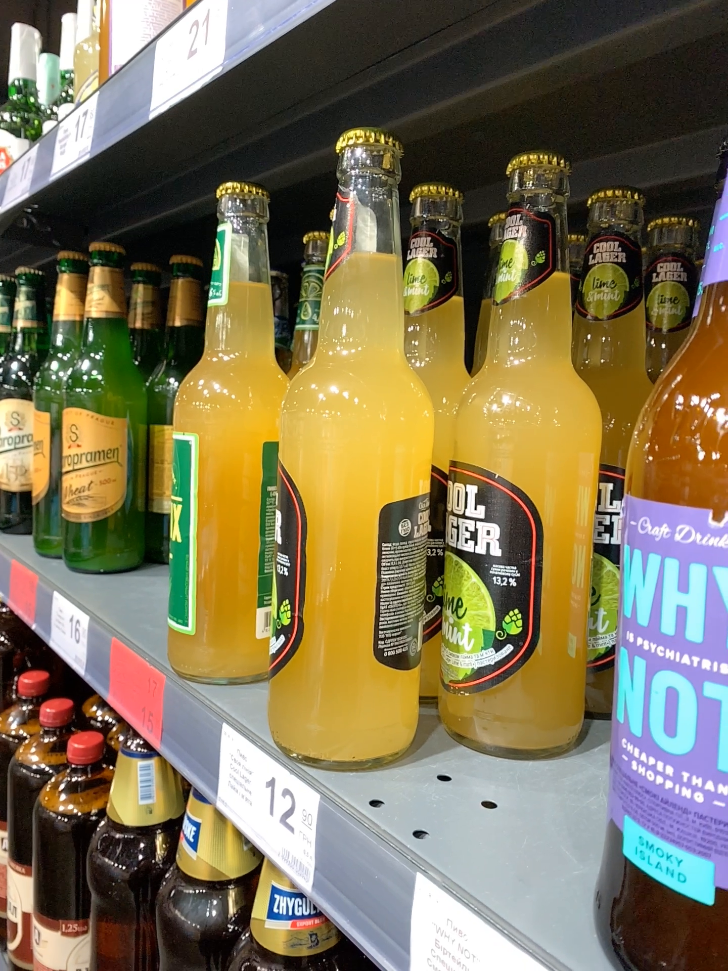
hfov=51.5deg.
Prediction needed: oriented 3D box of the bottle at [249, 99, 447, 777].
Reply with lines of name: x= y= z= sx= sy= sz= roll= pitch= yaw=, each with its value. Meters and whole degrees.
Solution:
bottle: x=-0.006 y=-0.016 z=0.306 sx=0.065 sy=0.244 sz=0.063 roll=2 pitch=5 yaw=0

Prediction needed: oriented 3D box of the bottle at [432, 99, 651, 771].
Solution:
bottle: x=0.070 y=-0.019 z=0.326 sx=0.069 sy=0.259 sz=0.063 roll=2 pitch=5 yaw=0

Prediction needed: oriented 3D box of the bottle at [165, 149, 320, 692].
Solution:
bottle: x=-0.062 y=-0.032 z=0.403 sx=0.064 sy=0.259 sz=0.078 roll=2 pitch=5 yaw=2
